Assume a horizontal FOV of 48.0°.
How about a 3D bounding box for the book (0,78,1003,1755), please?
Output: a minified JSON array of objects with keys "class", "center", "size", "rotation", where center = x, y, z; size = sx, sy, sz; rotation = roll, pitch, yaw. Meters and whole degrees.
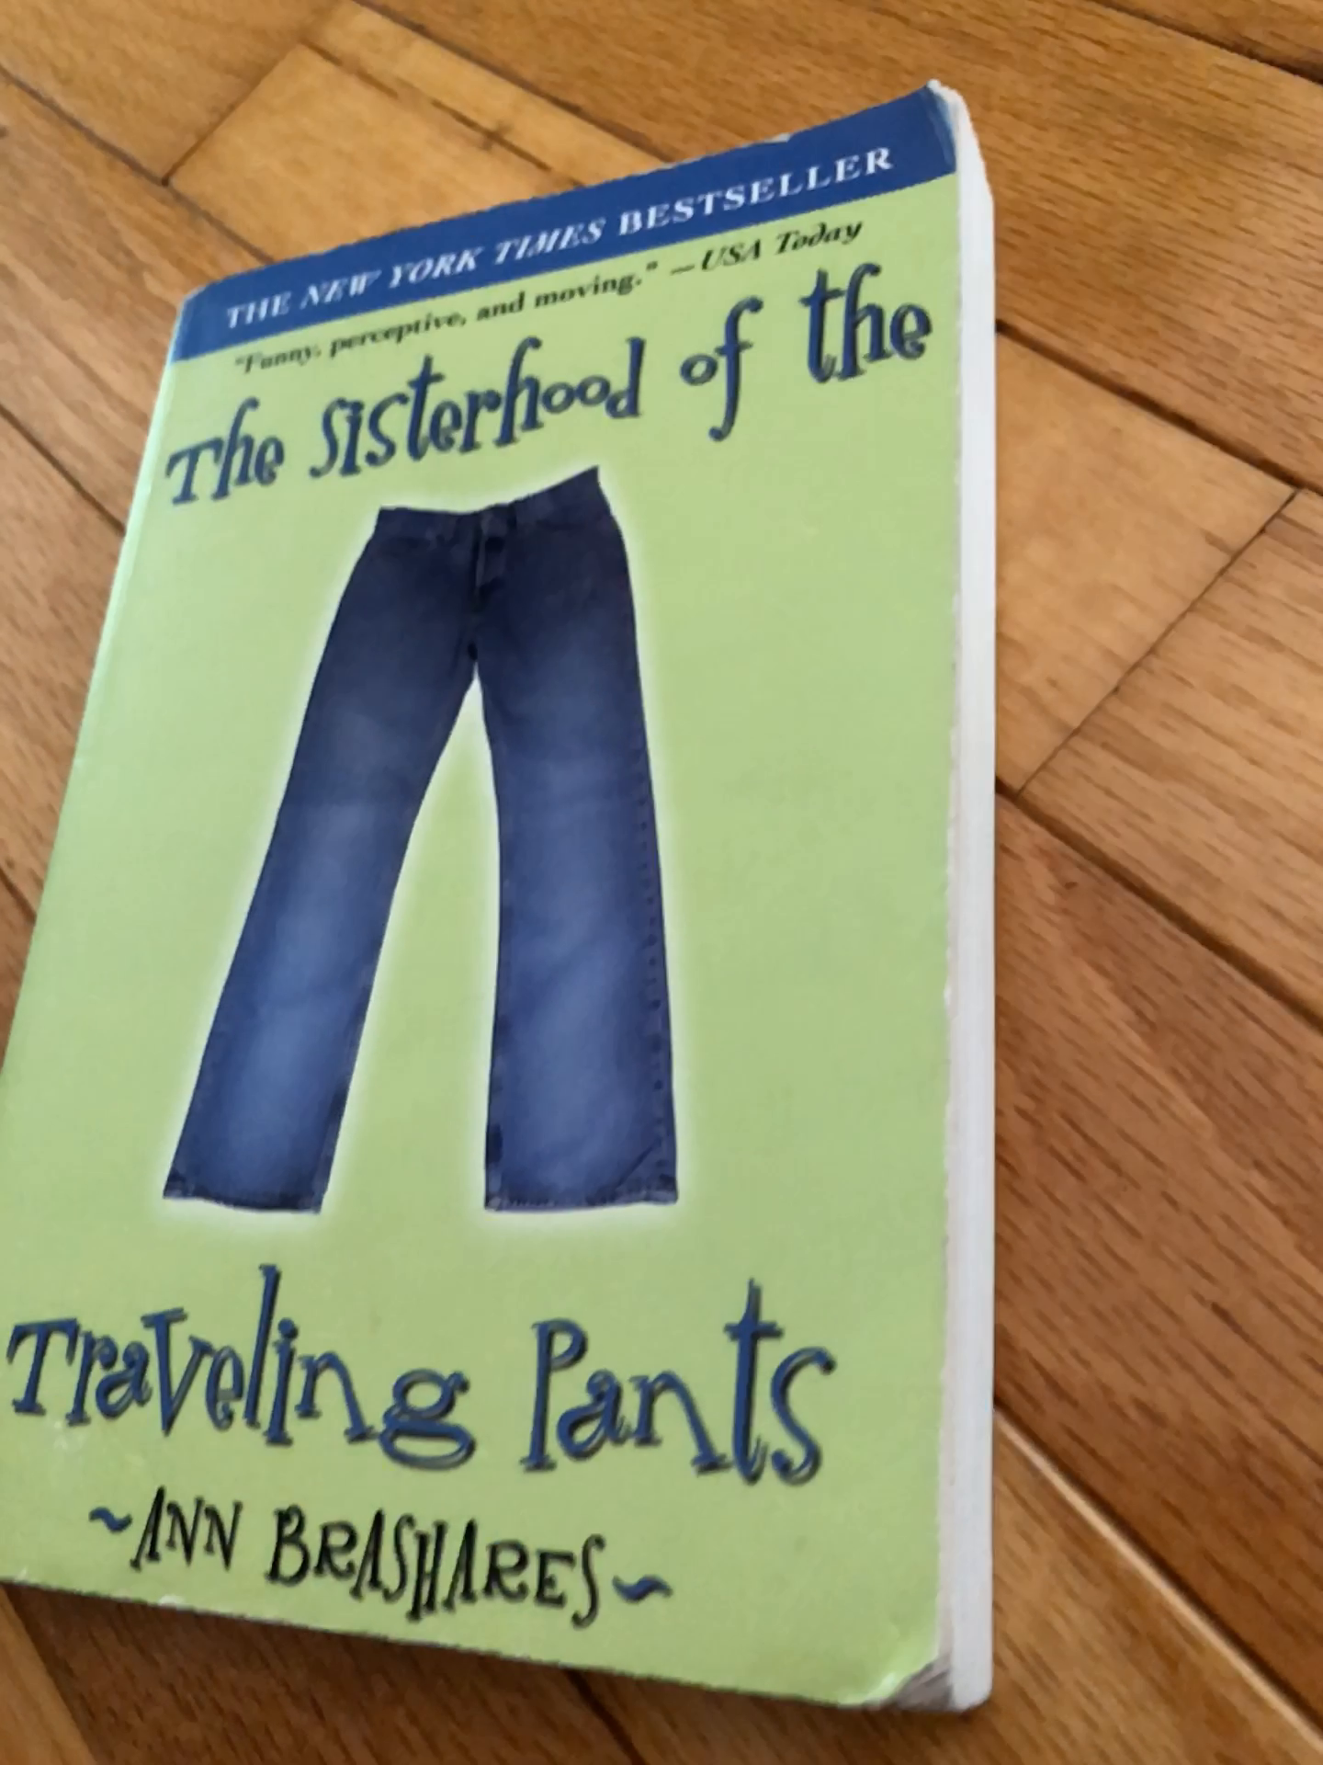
[{"class":"book","center":[-0.026,-0.010,0.208],"size":[0.141,0.025,0.209],"rotation":[-4,66,21]}]
